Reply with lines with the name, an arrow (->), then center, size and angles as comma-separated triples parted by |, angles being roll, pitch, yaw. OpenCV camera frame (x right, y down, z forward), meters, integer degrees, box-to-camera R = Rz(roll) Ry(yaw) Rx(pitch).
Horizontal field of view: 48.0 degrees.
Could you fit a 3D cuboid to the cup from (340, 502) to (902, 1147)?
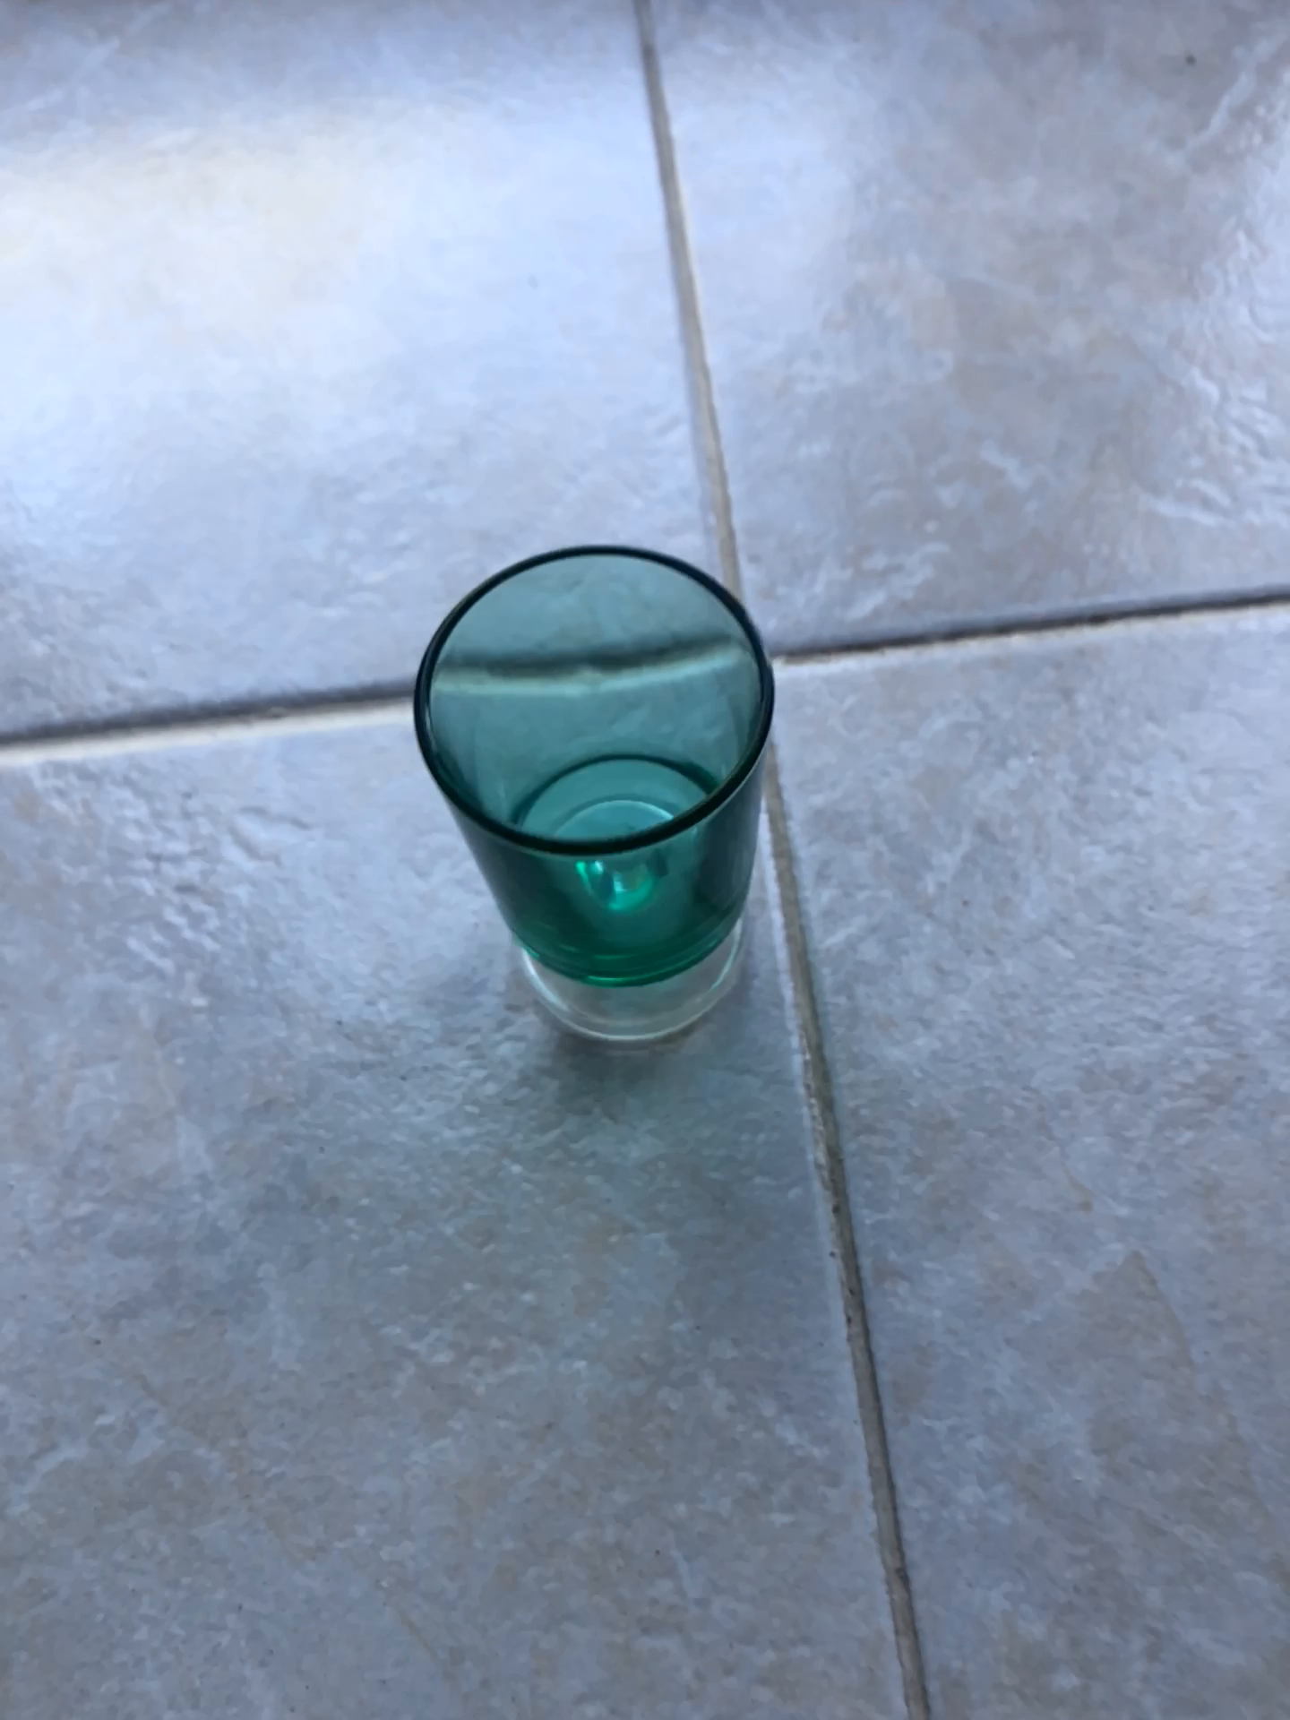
cup -> -0.001, -0.001, 0.192 | 0.044, 0.068, 0.045 | -1, 66, 2
